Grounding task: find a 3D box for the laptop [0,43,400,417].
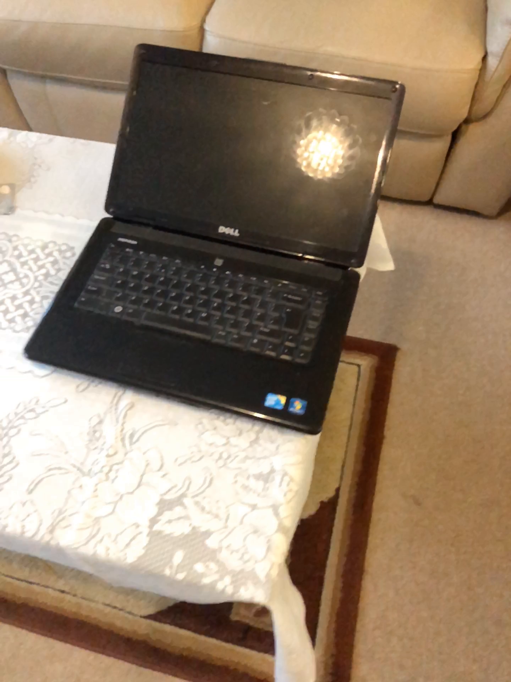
[{"bbox_3d":[-0.042,-0.166,0.708,0.364,0.122,0.419,13,62,10],"label":"laptop"}]
